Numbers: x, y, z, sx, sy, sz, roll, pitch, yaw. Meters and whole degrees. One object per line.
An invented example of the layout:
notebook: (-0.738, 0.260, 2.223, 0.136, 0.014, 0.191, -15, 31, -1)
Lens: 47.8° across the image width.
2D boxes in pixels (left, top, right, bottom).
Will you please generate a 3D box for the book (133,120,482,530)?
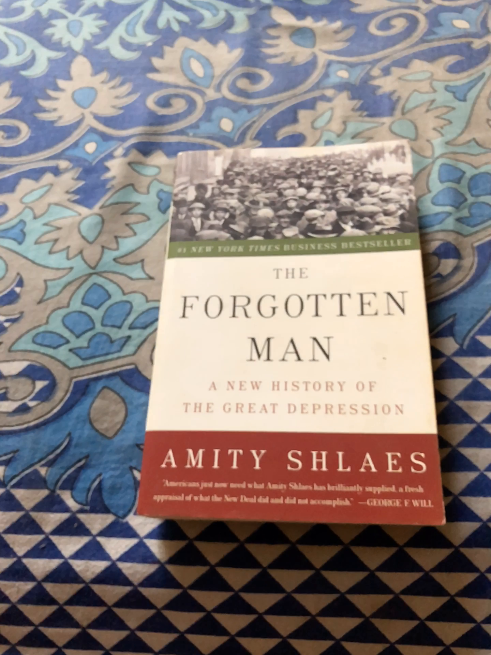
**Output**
book: (0.026, -0.004, 0.283, 0.140, 0.050, 0.200, -2, 69, 5)
